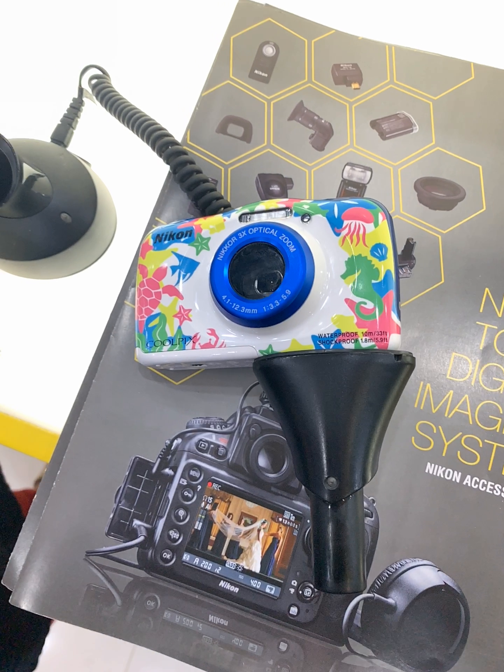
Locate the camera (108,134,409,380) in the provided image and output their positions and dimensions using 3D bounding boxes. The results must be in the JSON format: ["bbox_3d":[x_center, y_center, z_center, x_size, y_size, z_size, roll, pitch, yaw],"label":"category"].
[{"bbox_3d":[0.002,-0.027,0.210,0.110,0.030,0.080,-5,73,16],"label":"camera"}]
